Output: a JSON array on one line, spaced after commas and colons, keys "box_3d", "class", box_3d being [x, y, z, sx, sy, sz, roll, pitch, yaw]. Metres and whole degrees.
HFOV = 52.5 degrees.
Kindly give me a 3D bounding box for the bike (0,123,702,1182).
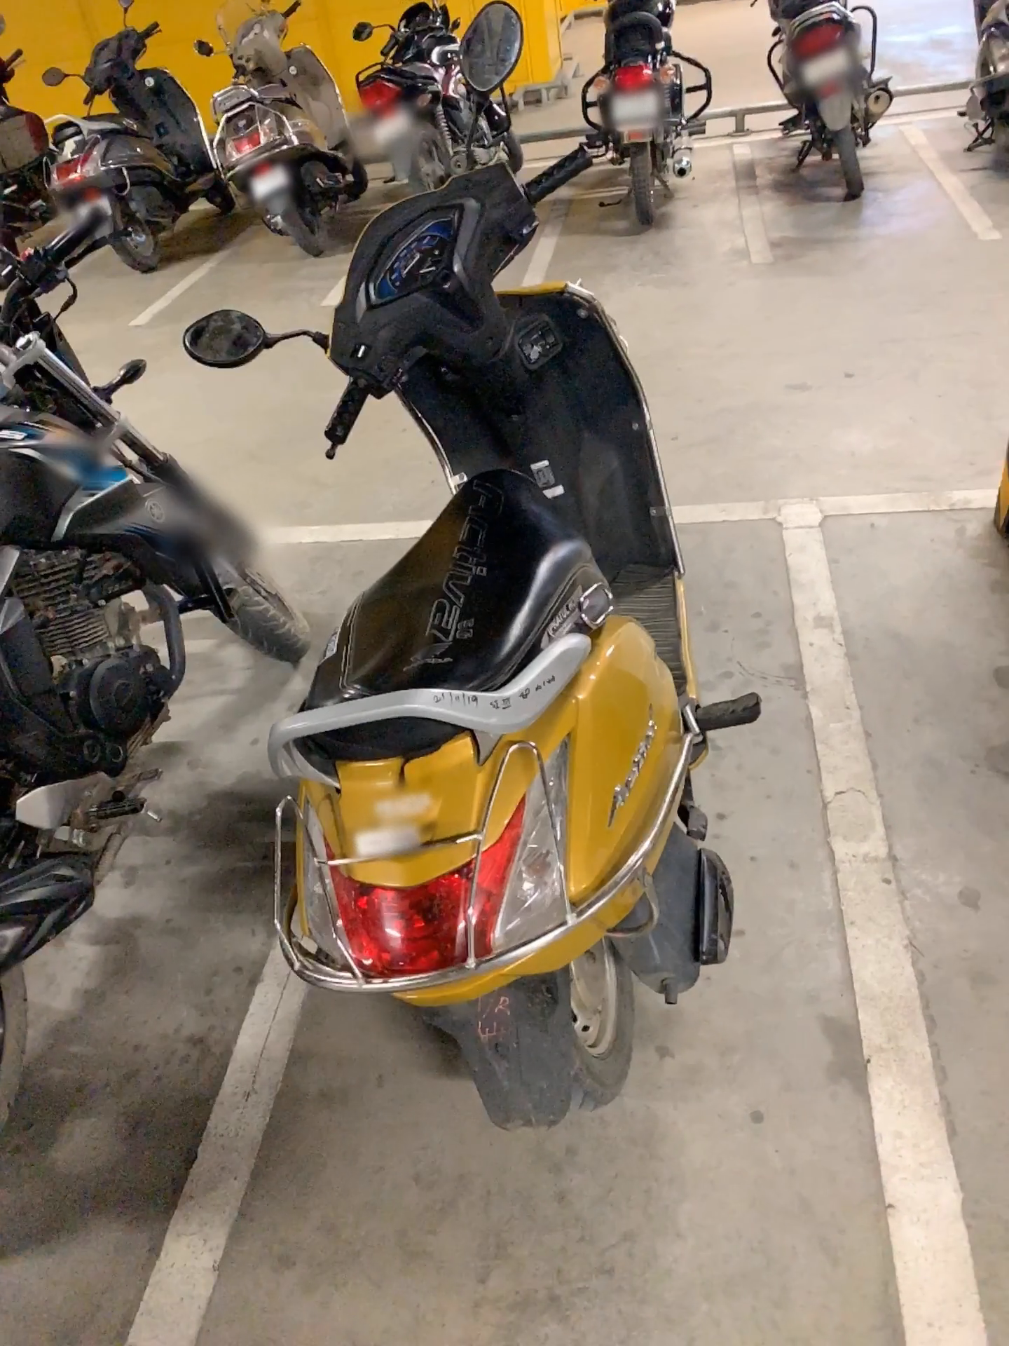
[{"box_3d": [-0.080, -0.183, 1.666, 0.568, 0.993, 1.528, -5, 36, 6], "class": "bike"}]
